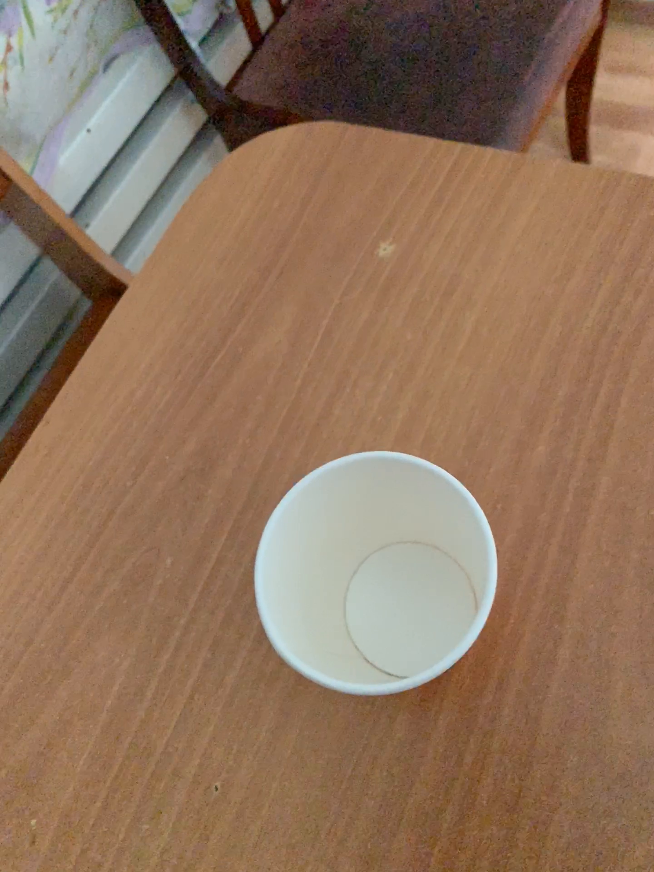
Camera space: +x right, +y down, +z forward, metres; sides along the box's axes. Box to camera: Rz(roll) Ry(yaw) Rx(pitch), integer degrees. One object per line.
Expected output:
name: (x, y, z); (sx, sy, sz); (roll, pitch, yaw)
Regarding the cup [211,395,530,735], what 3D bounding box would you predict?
cup: (0.019, 0.055, 0.260); (0.084, 0.088, 0.089); (-6, 65, 13)
